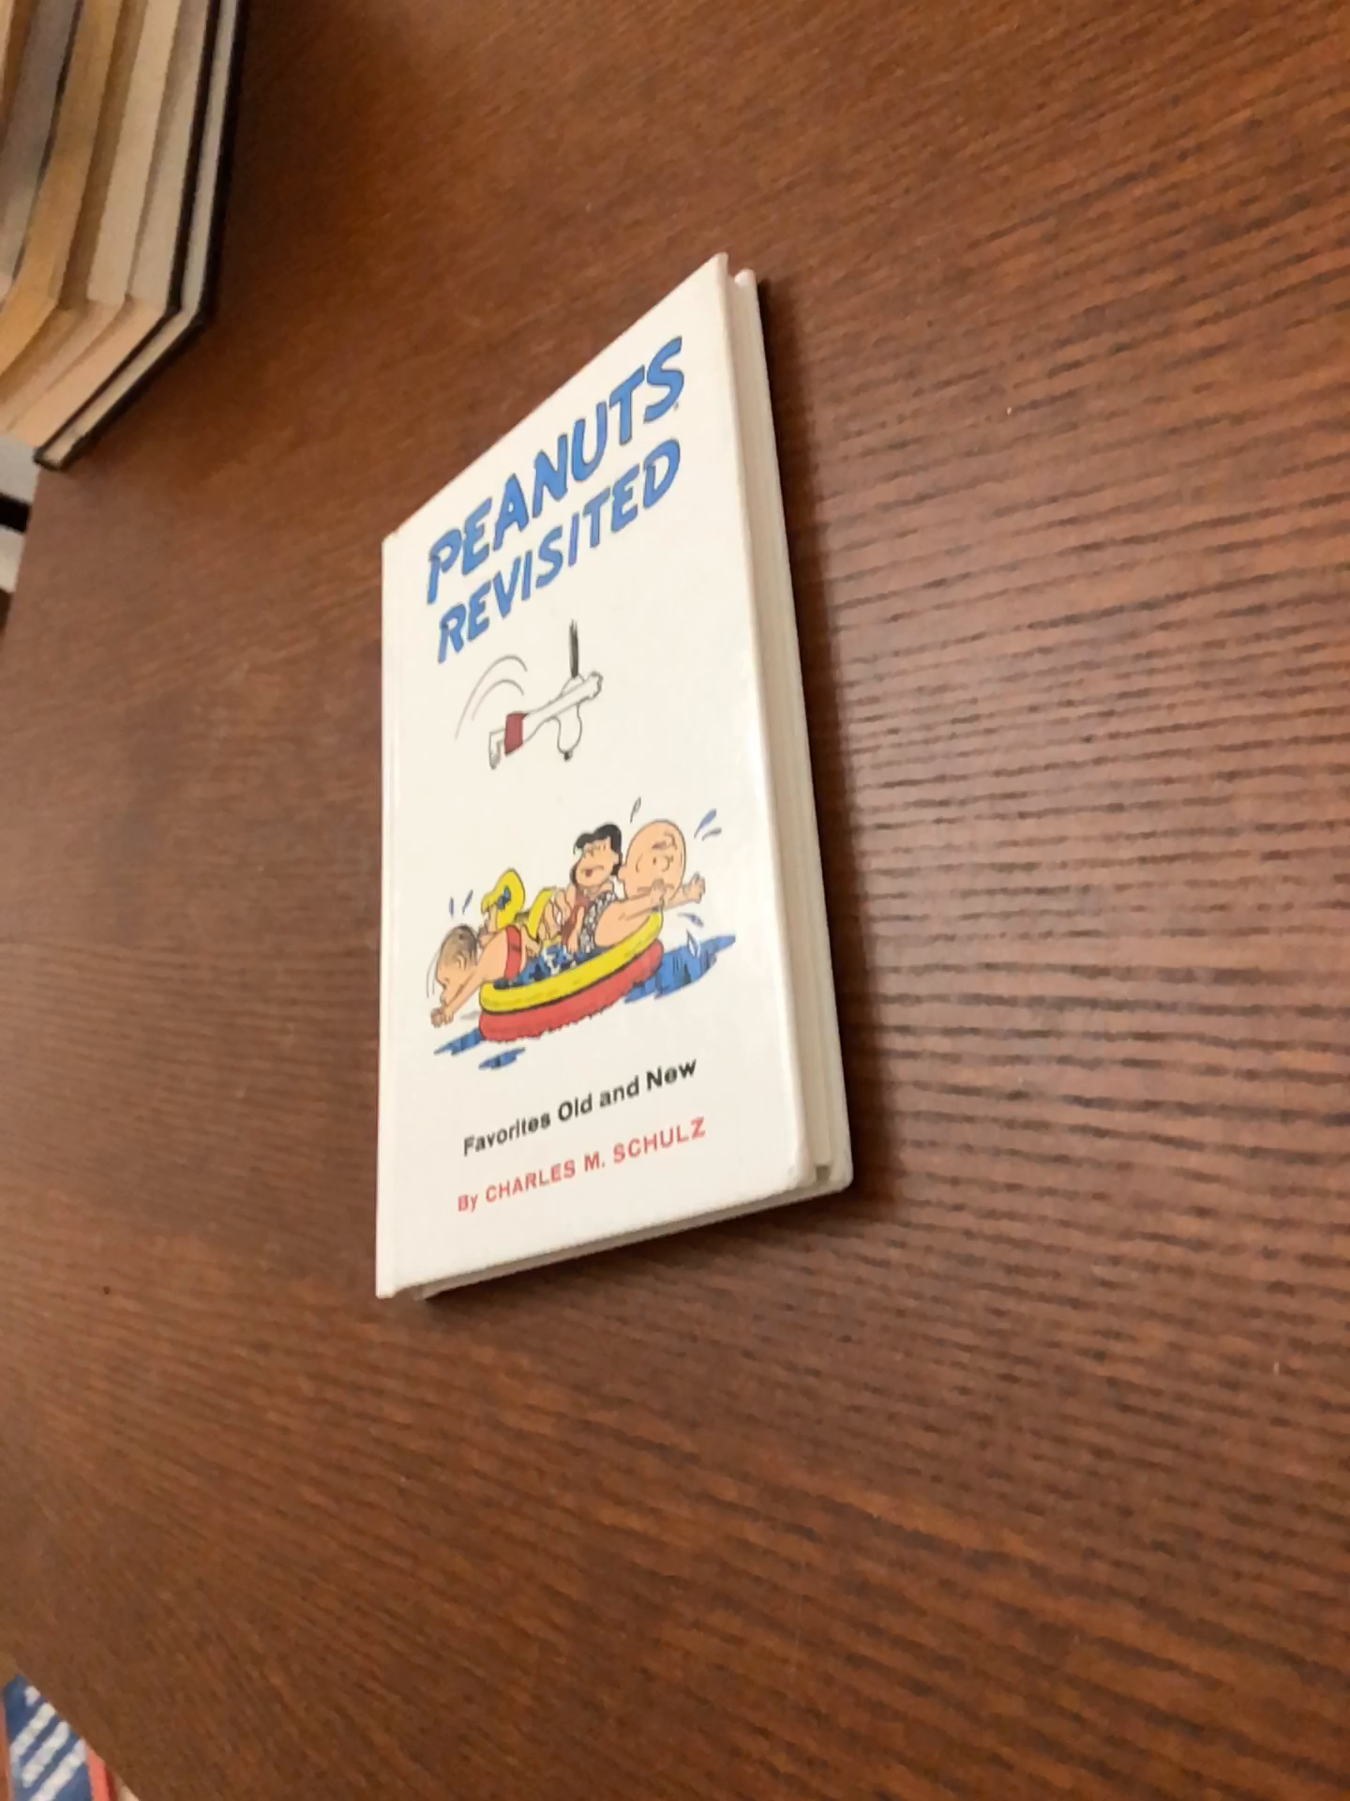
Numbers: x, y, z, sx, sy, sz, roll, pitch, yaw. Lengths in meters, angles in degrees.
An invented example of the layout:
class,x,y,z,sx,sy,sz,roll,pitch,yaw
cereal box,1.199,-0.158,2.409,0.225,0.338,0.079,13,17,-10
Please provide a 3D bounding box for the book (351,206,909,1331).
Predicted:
class,x,y,z,sx,sy,sz,roll,pitch,yaw
book,-0.024,-0.024,0.343,0.150,0.020,0.220,-25,60,42
